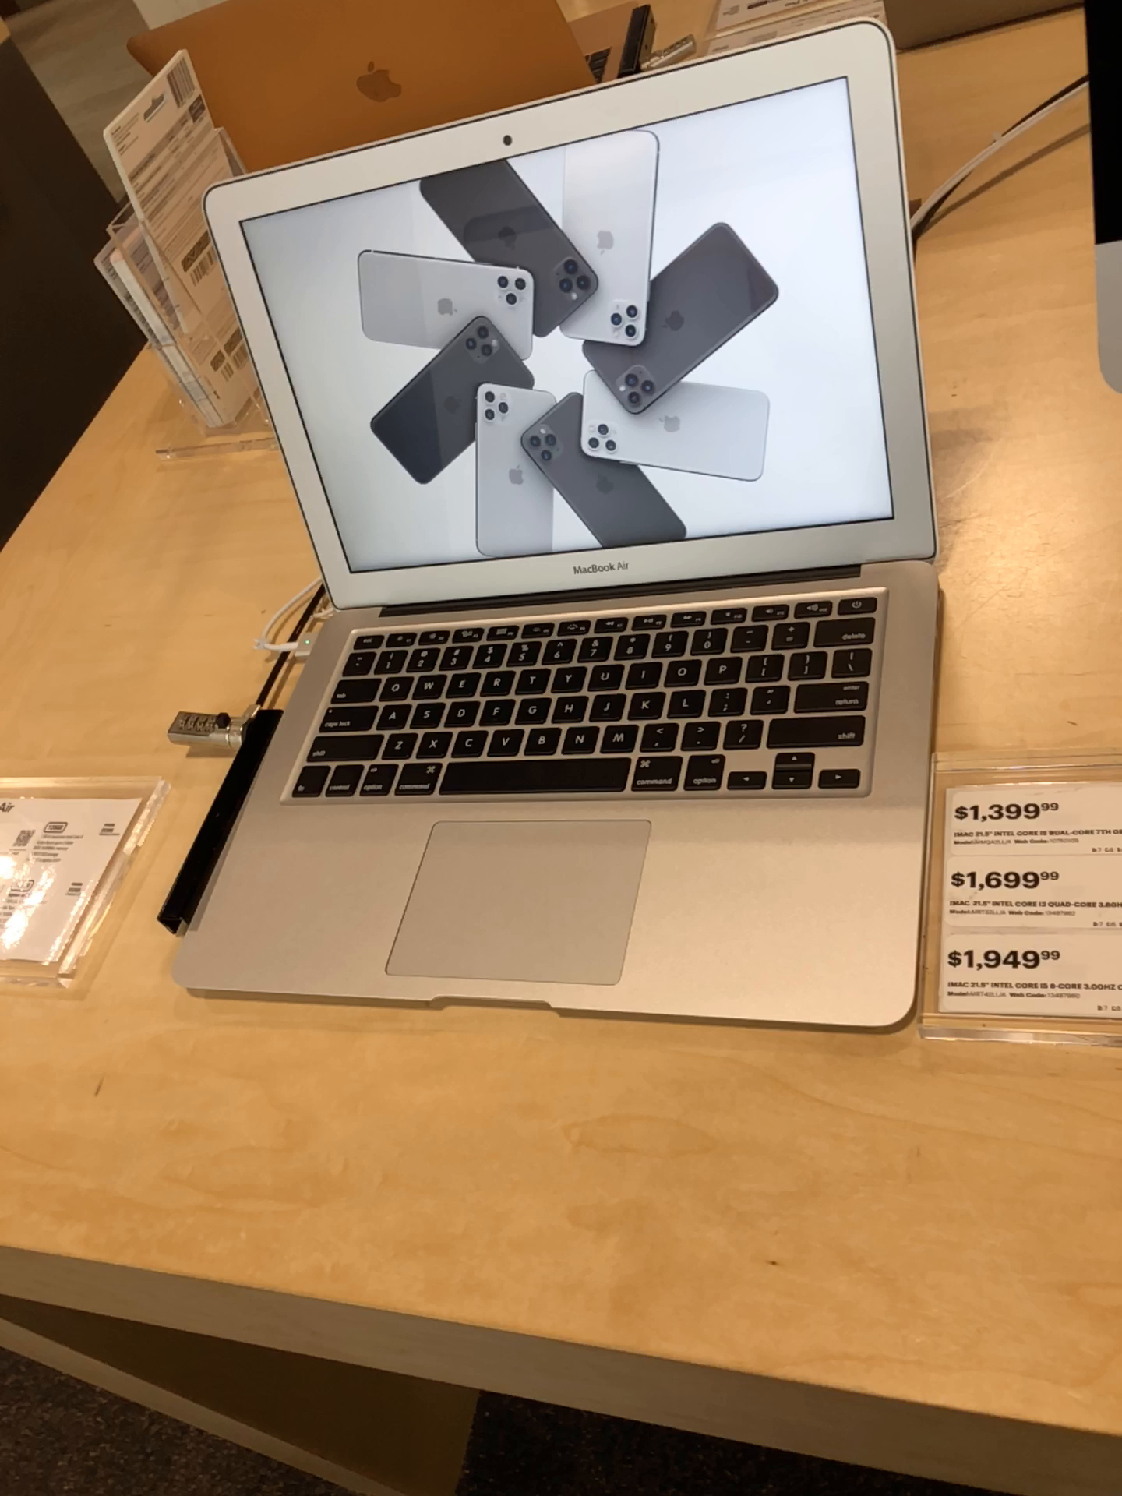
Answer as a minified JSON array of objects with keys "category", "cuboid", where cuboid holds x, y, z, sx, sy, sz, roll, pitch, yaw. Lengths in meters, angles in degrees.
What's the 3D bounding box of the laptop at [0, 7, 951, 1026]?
[{"category":"laptop","cuboid":[-0.029,-0.085,0.512,0.324,0.202,0.310,-2,51,26]}]
